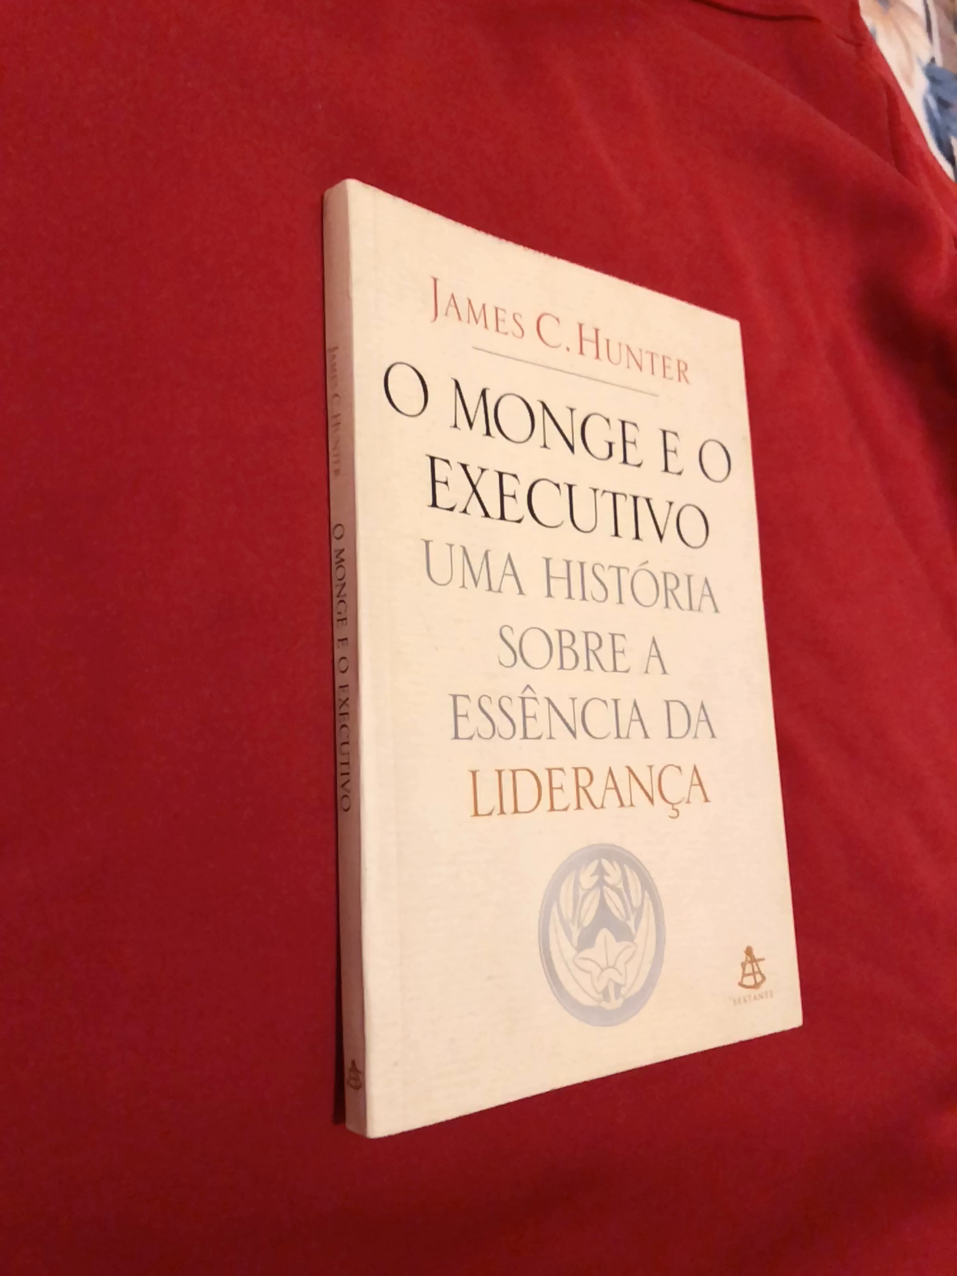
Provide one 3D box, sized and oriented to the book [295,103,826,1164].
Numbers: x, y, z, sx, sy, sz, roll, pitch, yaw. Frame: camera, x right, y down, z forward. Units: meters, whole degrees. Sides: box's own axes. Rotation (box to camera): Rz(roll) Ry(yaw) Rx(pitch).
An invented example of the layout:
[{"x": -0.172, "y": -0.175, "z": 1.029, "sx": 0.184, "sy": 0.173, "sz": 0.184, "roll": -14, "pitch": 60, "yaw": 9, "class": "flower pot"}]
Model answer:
[{"x": 0.024, "y": -0.003, "z": 0.272, "sx": 0.141, "sy": 0.030, "sz": 0.220, "roll": 5, "pitch": 77, "yaw": -39, "class": "book"}]
